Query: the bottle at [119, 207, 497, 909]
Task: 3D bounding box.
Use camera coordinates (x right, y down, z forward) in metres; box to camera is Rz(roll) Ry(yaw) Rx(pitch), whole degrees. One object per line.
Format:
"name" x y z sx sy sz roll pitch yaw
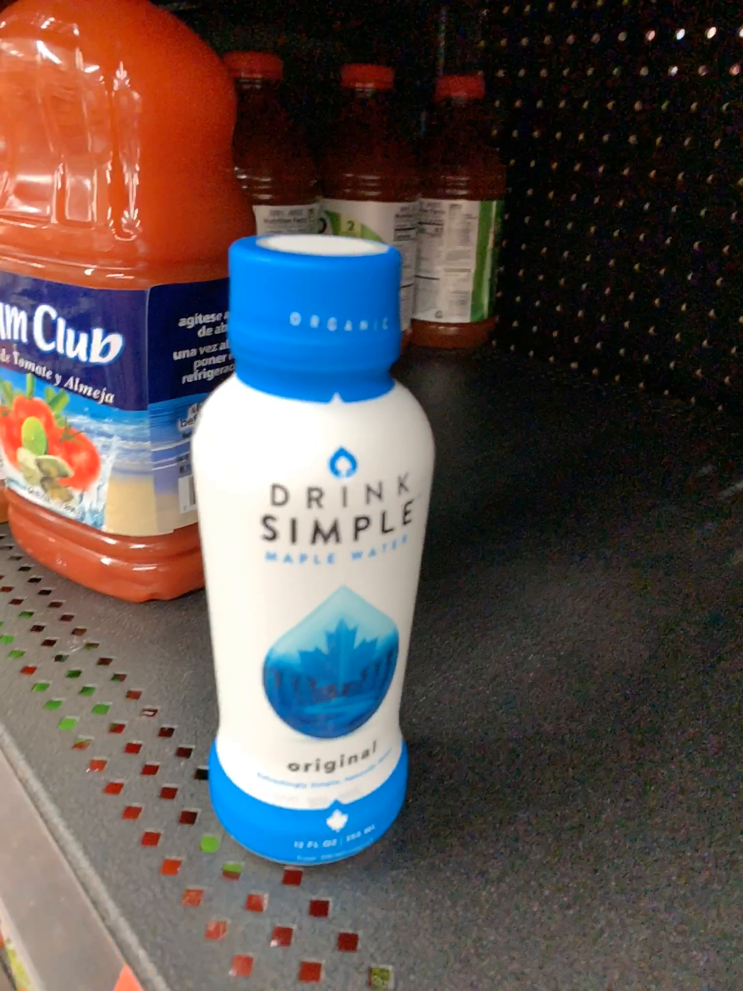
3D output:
"bottle" -0.021 0.017 0.205 0.070 0.169 0.066 1 26 -1
